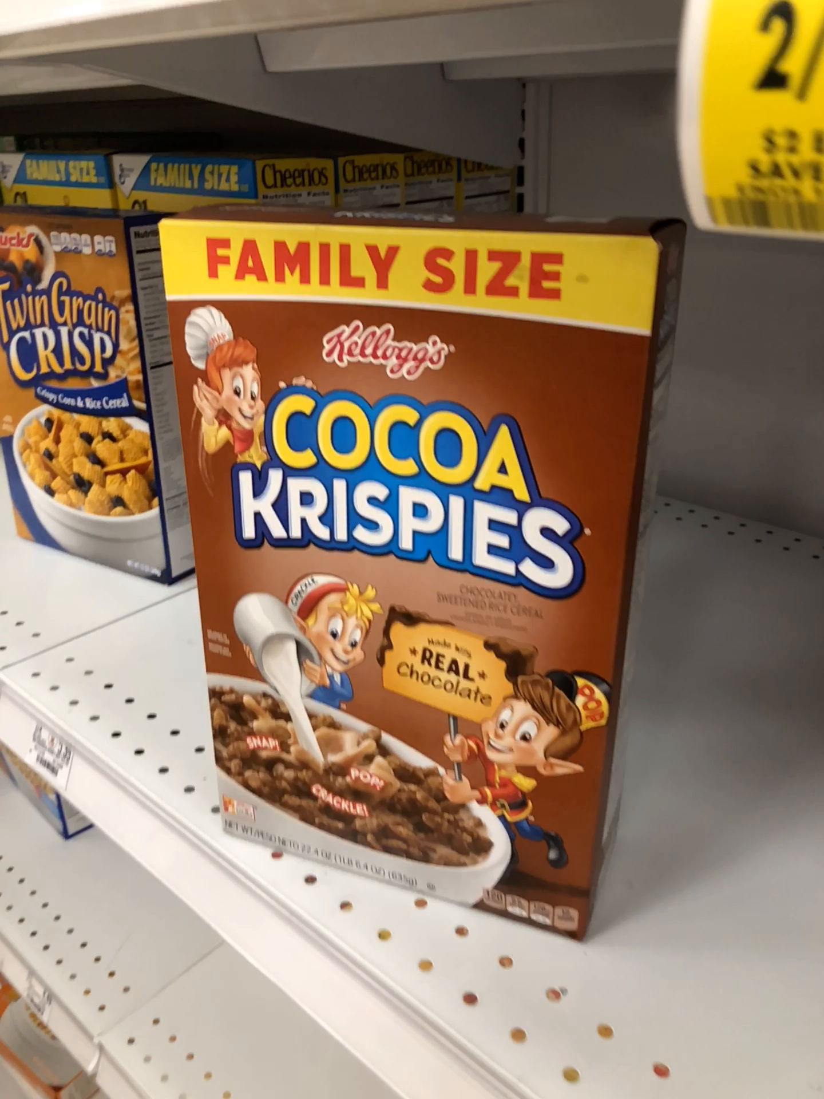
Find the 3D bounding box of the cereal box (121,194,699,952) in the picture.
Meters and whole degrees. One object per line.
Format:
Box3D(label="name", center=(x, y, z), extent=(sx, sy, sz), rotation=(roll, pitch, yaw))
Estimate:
Box3D(label="cereal box", center=(0.002, 0.009, 0.397), extent=(0.200, 0.299, 0.070), rotation=(9, 27, 22))
